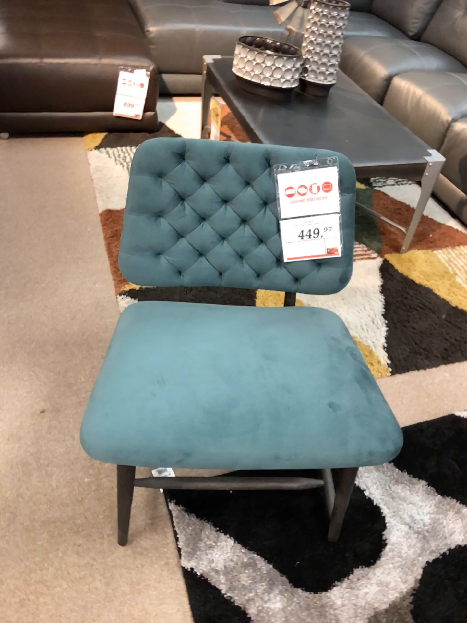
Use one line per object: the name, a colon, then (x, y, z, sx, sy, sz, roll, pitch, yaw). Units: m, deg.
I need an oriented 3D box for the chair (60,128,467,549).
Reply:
chair: (0.022, 0.102, 1.155, 0.639, 0.765, 0.534, 3, 44, -8)
